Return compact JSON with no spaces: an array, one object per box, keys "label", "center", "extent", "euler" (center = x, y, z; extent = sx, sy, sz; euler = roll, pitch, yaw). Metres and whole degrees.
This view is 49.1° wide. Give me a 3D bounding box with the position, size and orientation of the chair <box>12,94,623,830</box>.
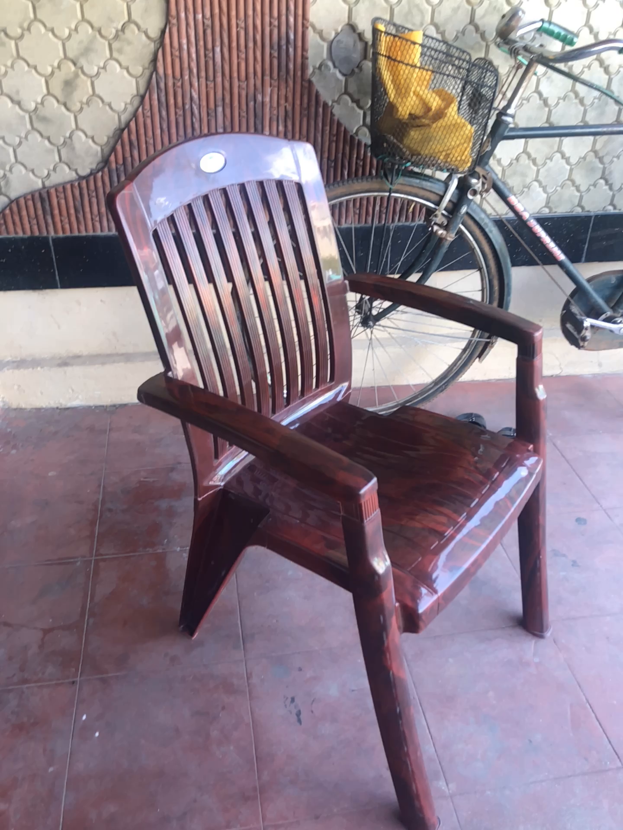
[{"label":"chair","center":[0.087,0.034,1.080],"extent":[0.700,0.845,0.593],"euler":[25,41,31]}]
